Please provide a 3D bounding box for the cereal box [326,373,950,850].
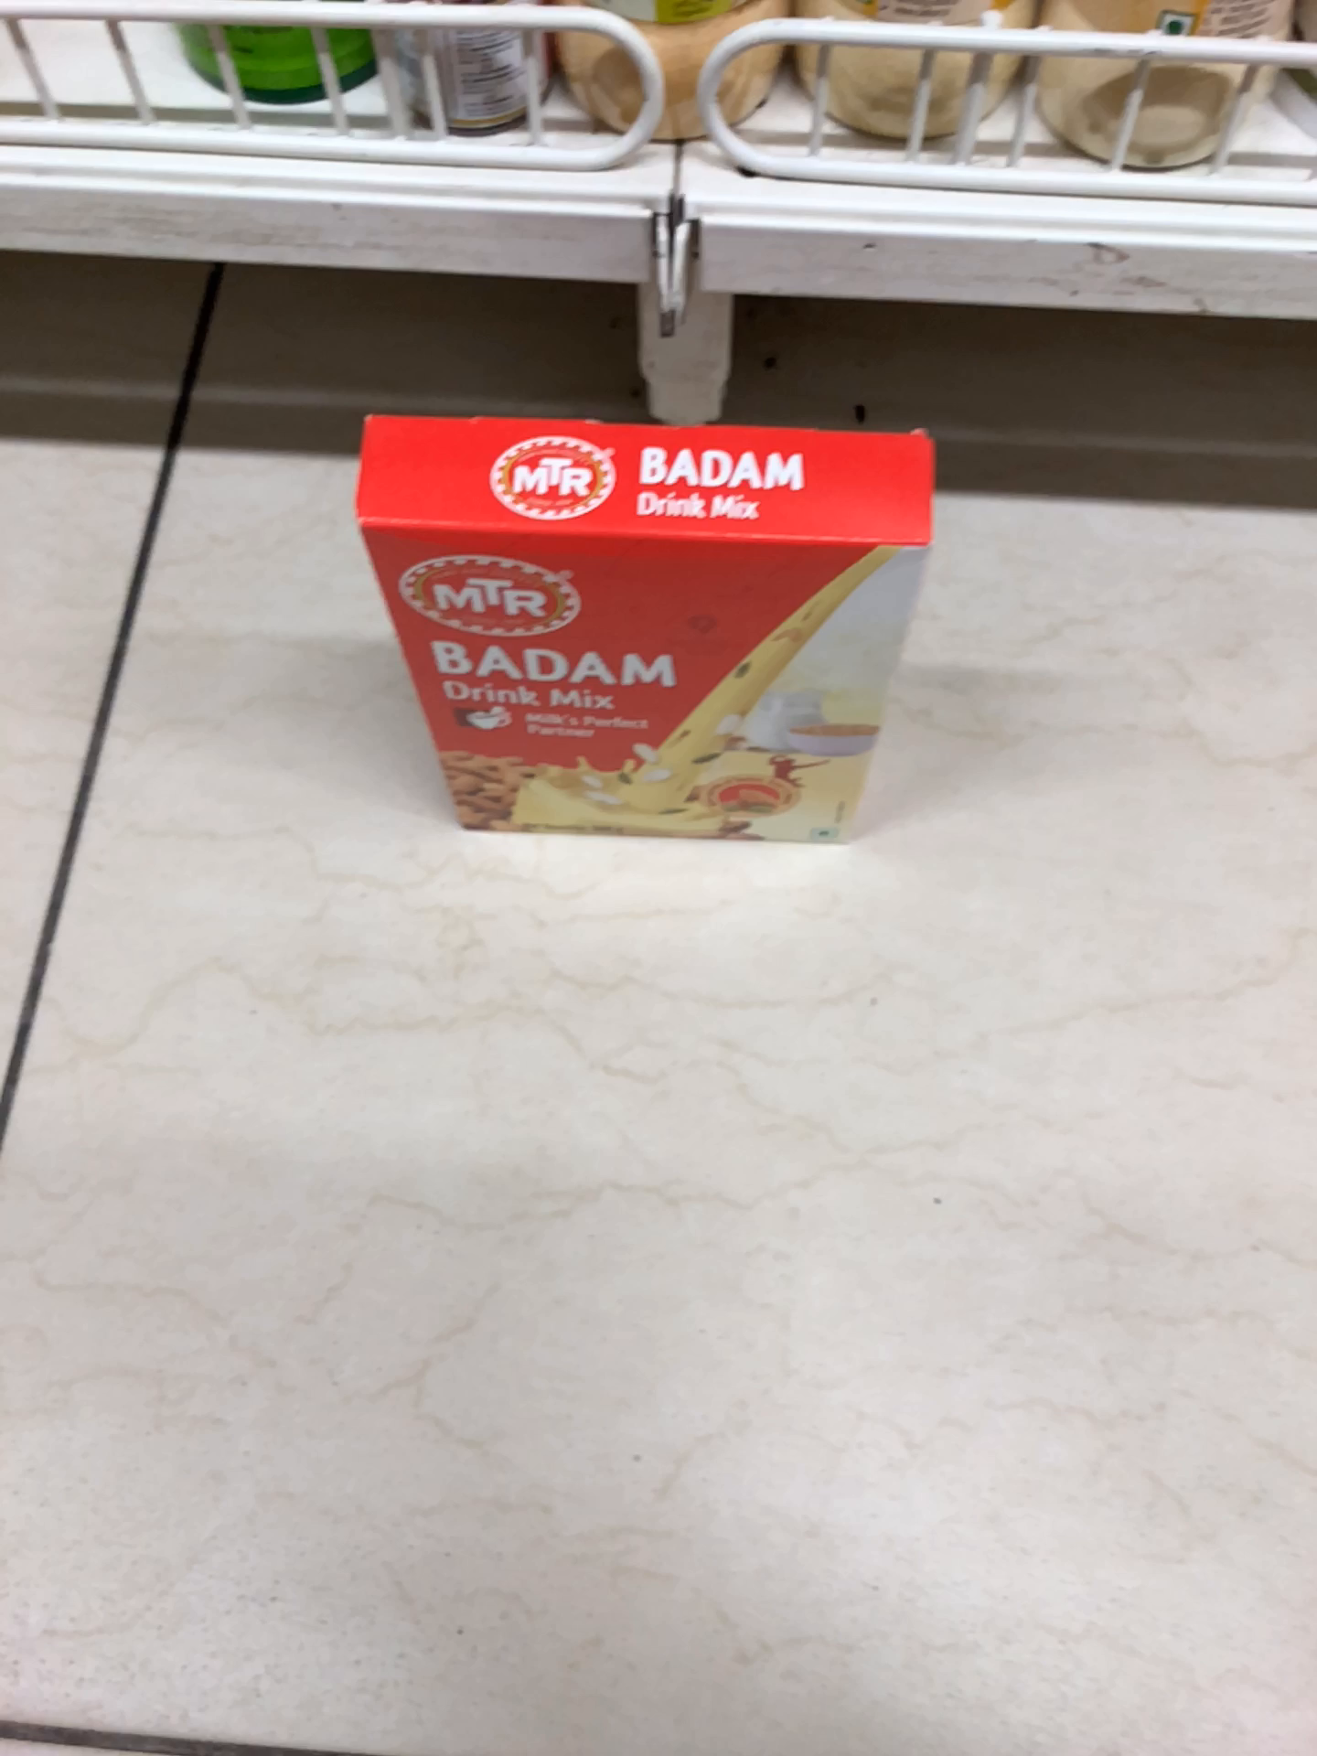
[{"bbox_3d":[-0.004,-0.060,0.387,0.130,0.159,0.040,2,67,1],"label":"cereal box"}]
